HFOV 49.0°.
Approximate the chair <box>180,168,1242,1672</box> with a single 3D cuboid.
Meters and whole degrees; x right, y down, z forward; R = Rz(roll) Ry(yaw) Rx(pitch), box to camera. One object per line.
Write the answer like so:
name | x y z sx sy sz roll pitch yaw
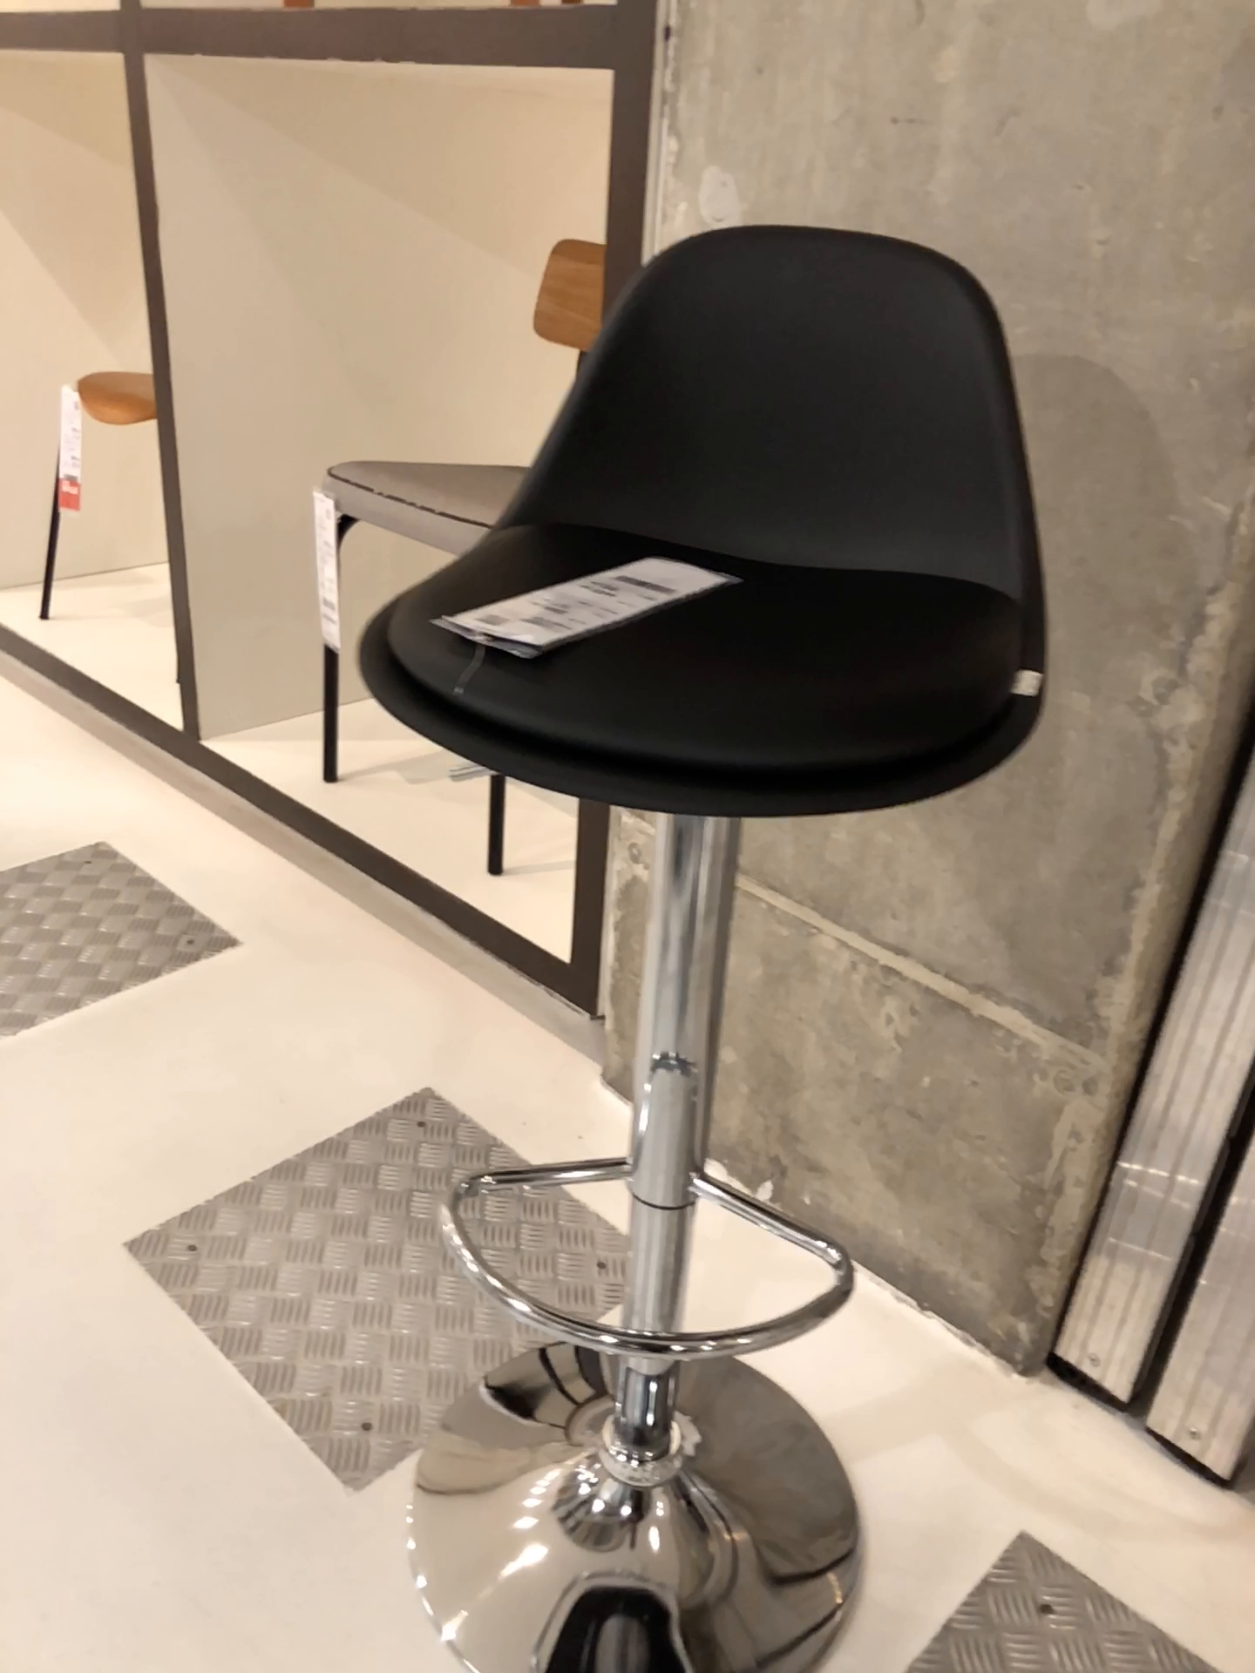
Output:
chair | 0.059 0.119 0.952 0.430 1.012 0.473 14 28 18
